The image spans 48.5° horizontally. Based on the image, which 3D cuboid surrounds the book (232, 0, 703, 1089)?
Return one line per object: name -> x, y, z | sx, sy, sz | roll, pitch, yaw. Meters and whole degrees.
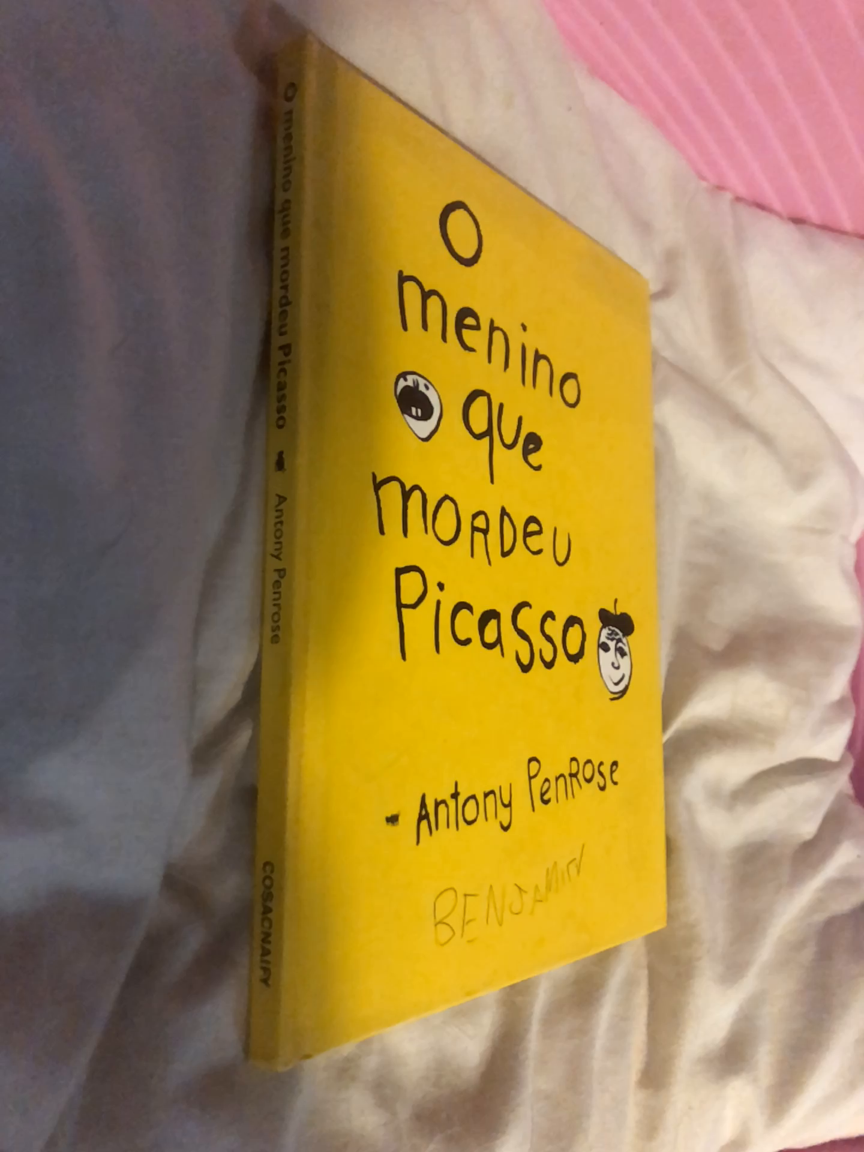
book -> 0.027, -0.007, 0.281 | 0.181, 0.024, 0.240 | 10, 78, -49
